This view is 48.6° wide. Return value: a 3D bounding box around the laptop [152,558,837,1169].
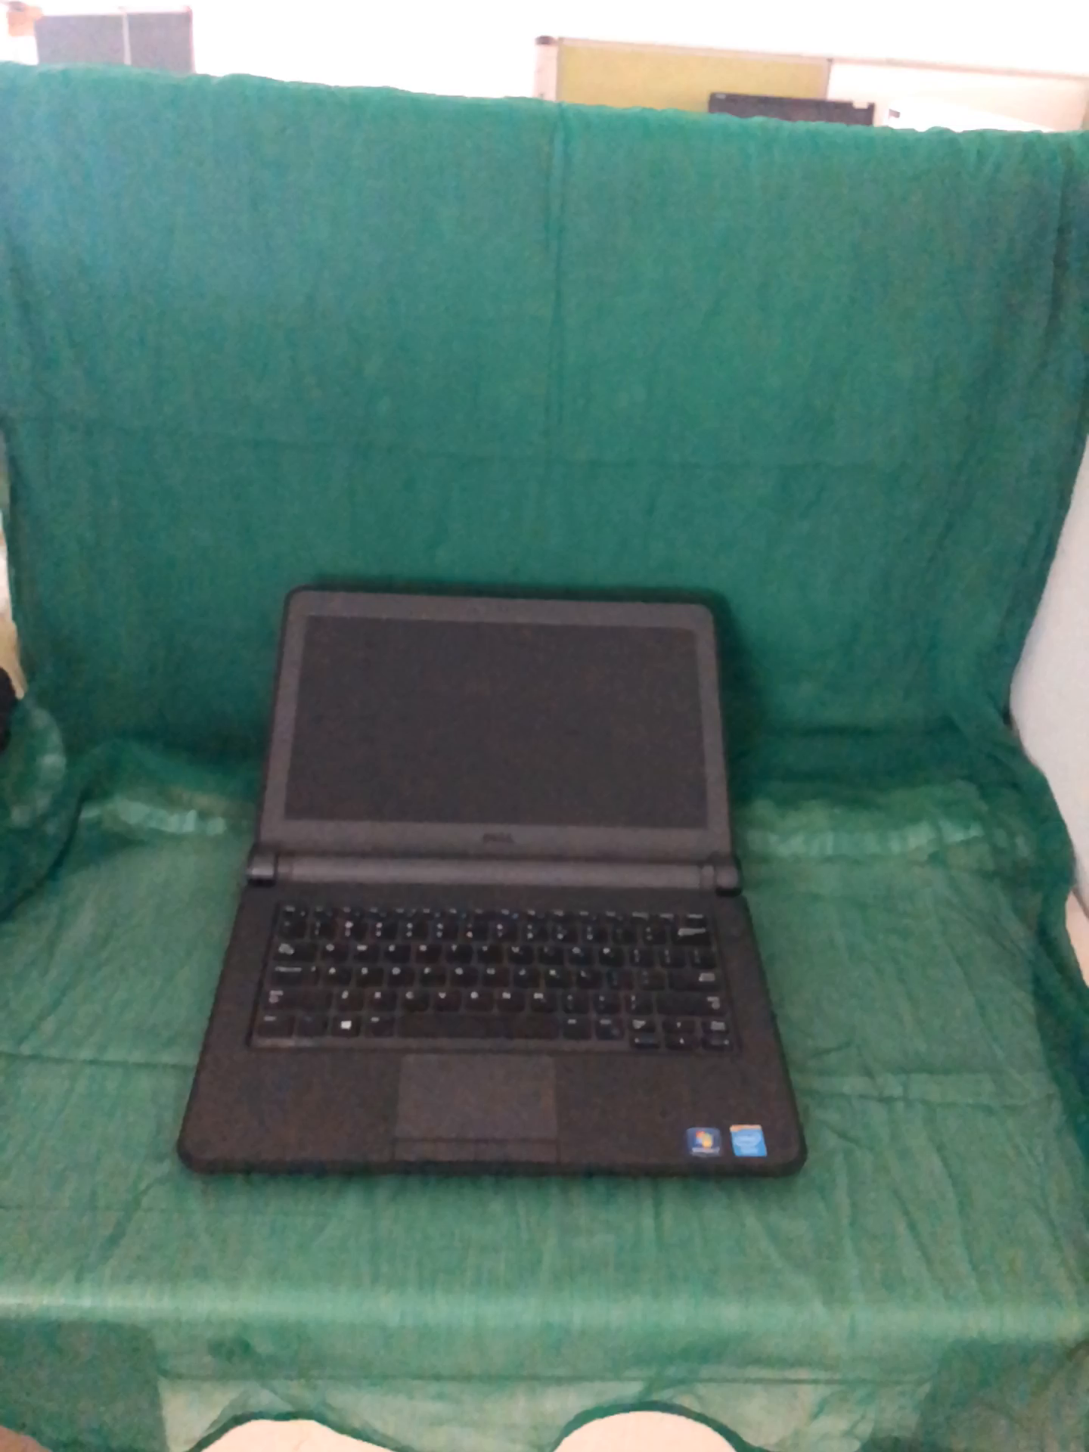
[{"bbox_3d":[-0.027,0.050,0.741,0.311,0.096,0.422,2,37,-3],"label":"laptop"}]
